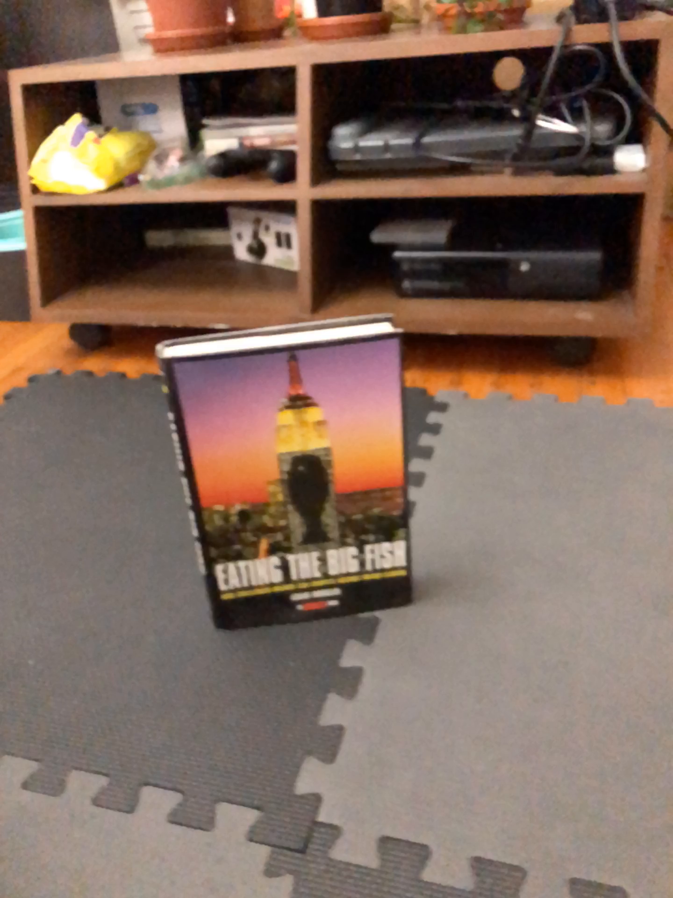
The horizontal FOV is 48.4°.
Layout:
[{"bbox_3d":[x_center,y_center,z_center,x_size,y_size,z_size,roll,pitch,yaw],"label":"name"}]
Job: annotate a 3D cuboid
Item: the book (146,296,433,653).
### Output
[{"bbox_3d":[-0.024,0.029,0.567,0.180,0.258,0.050,-9,32,-5],"label":"book"}]
